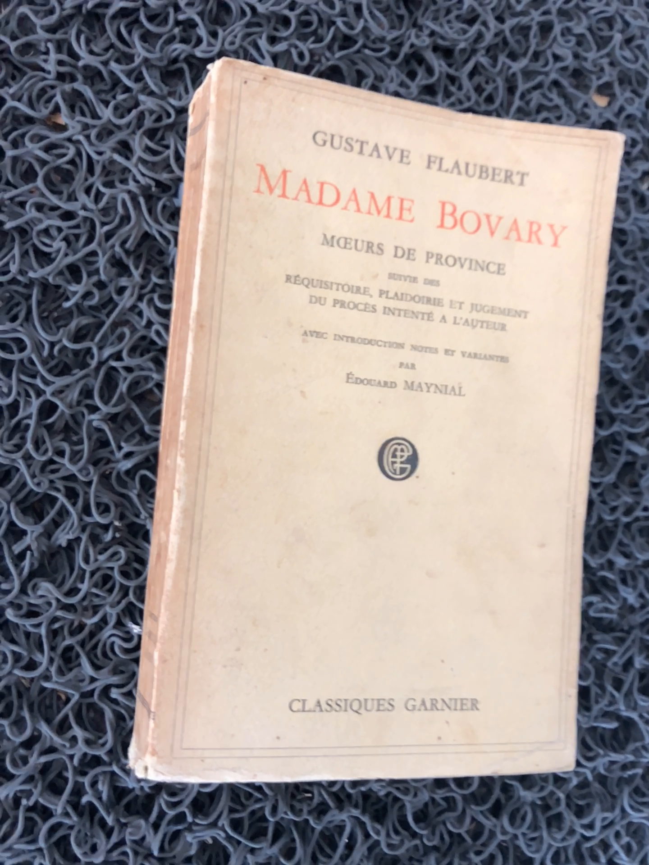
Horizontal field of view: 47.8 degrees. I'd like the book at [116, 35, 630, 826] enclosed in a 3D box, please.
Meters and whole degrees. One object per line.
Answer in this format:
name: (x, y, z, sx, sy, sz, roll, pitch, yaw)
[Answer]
book: (0.016, 0.002, 0.199, 0.124, 0.035, 0.180, 6, 84, -16)
